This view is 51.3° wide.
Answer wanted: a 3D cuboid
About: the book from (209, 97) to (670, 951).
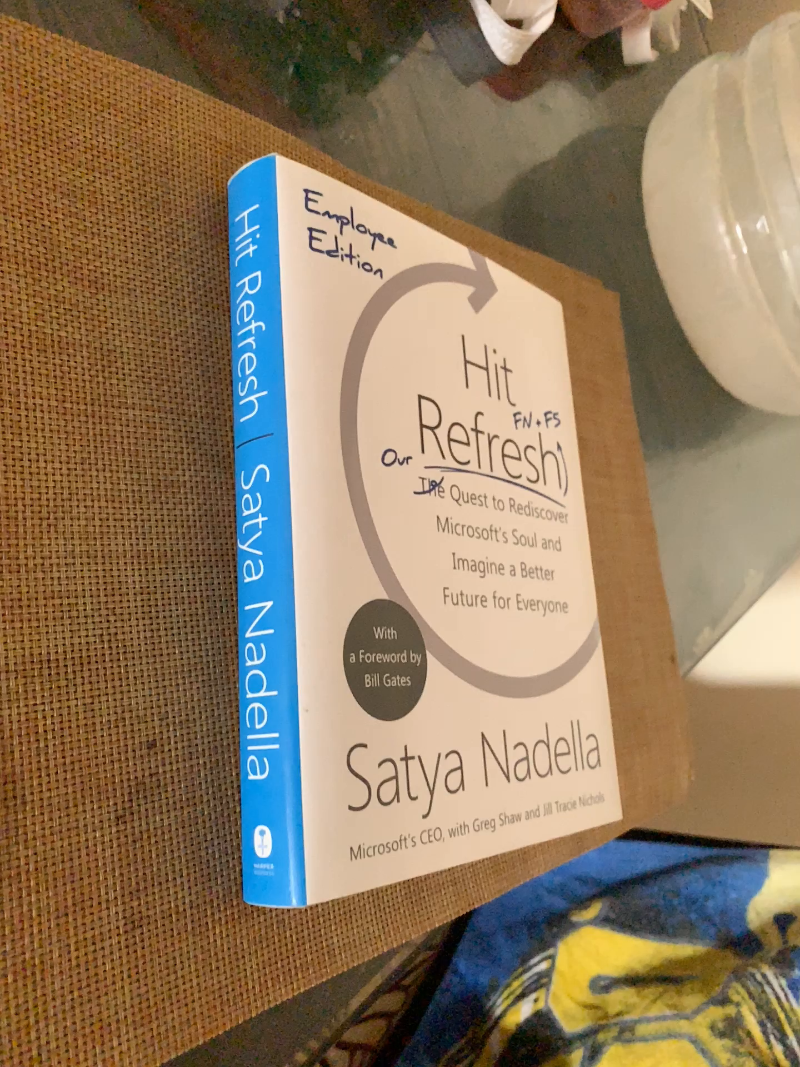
[{"bbox_3d":[0.022,-0.002,0.317,0.191,0.040,0.250,10,71,-45],"label":"book"}]
